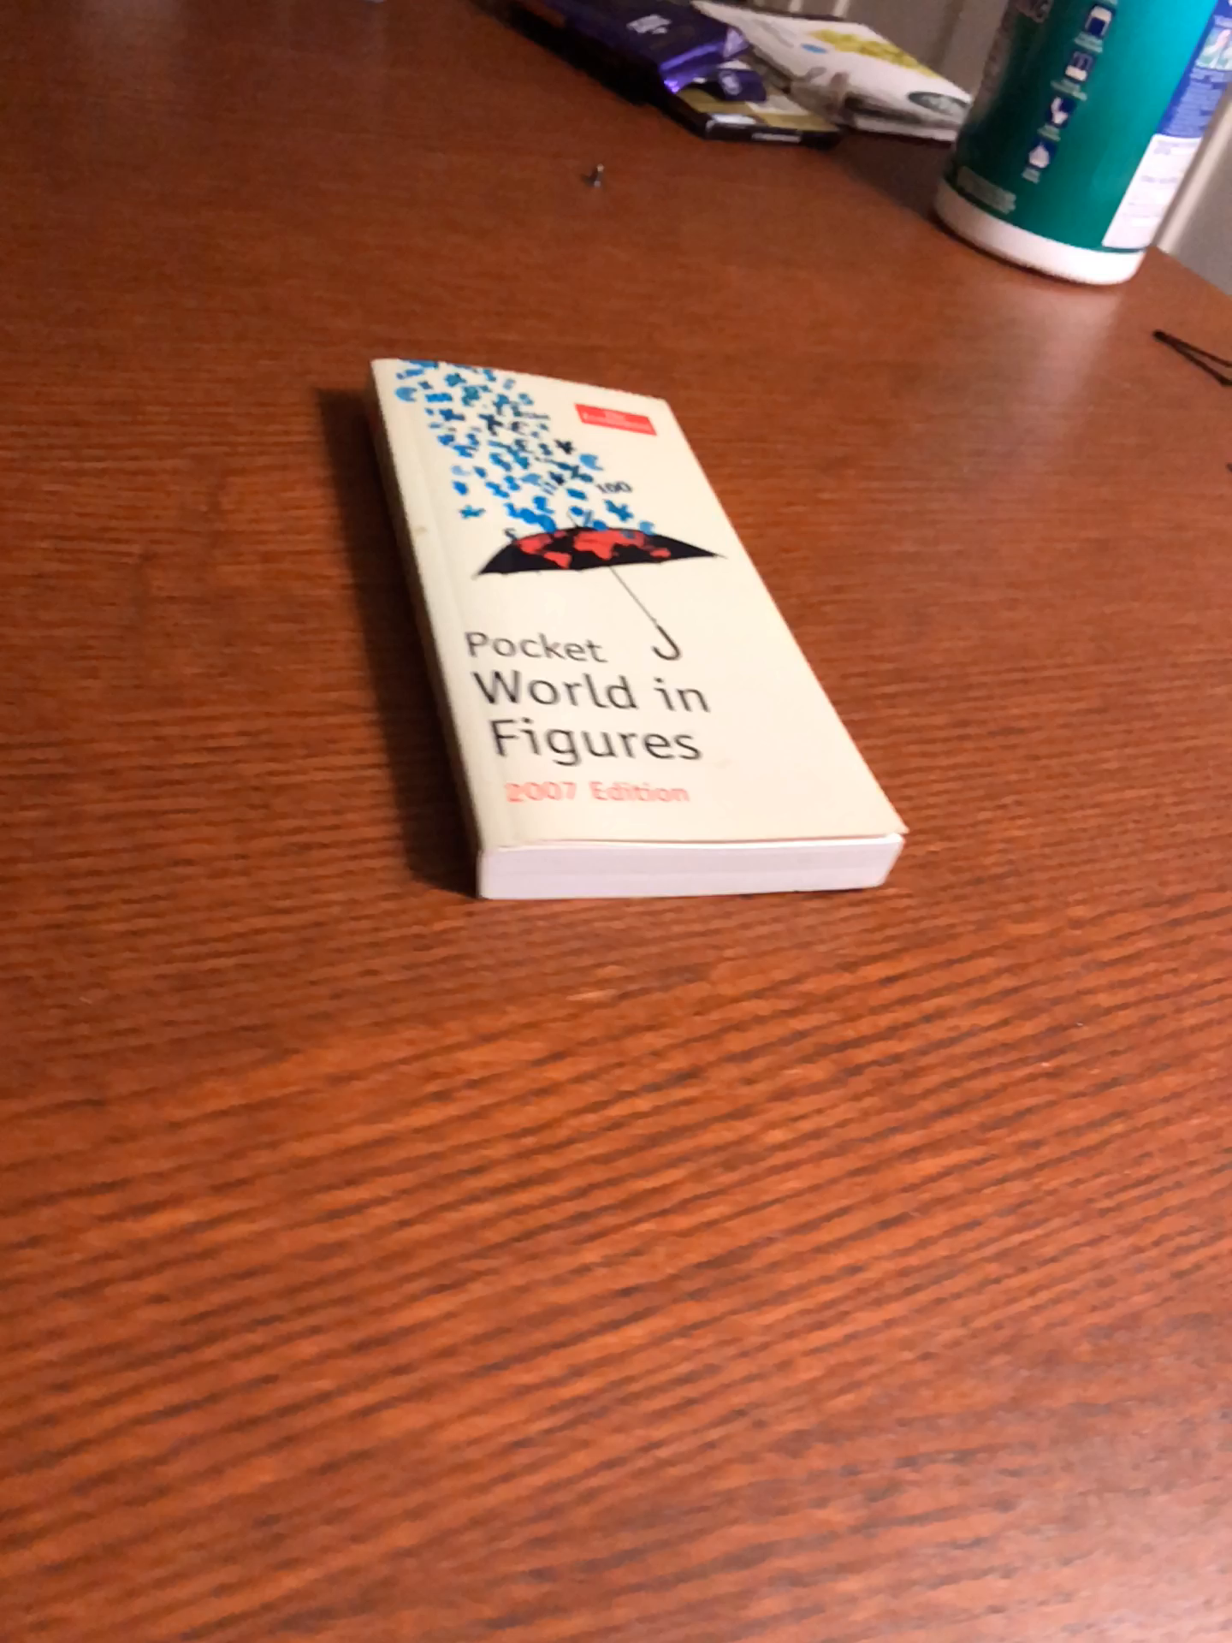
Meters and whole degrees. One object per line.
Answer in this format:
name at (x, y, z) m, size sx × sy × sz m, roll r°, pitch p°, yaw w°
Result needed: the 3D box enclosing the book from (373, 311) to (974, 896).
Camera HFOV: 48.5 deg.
book at (0.001, -0.065, 0.350) m, size 0.100 × 0.030 × 0.201 m, roll 1°, pitch 44°, yaw -20°
